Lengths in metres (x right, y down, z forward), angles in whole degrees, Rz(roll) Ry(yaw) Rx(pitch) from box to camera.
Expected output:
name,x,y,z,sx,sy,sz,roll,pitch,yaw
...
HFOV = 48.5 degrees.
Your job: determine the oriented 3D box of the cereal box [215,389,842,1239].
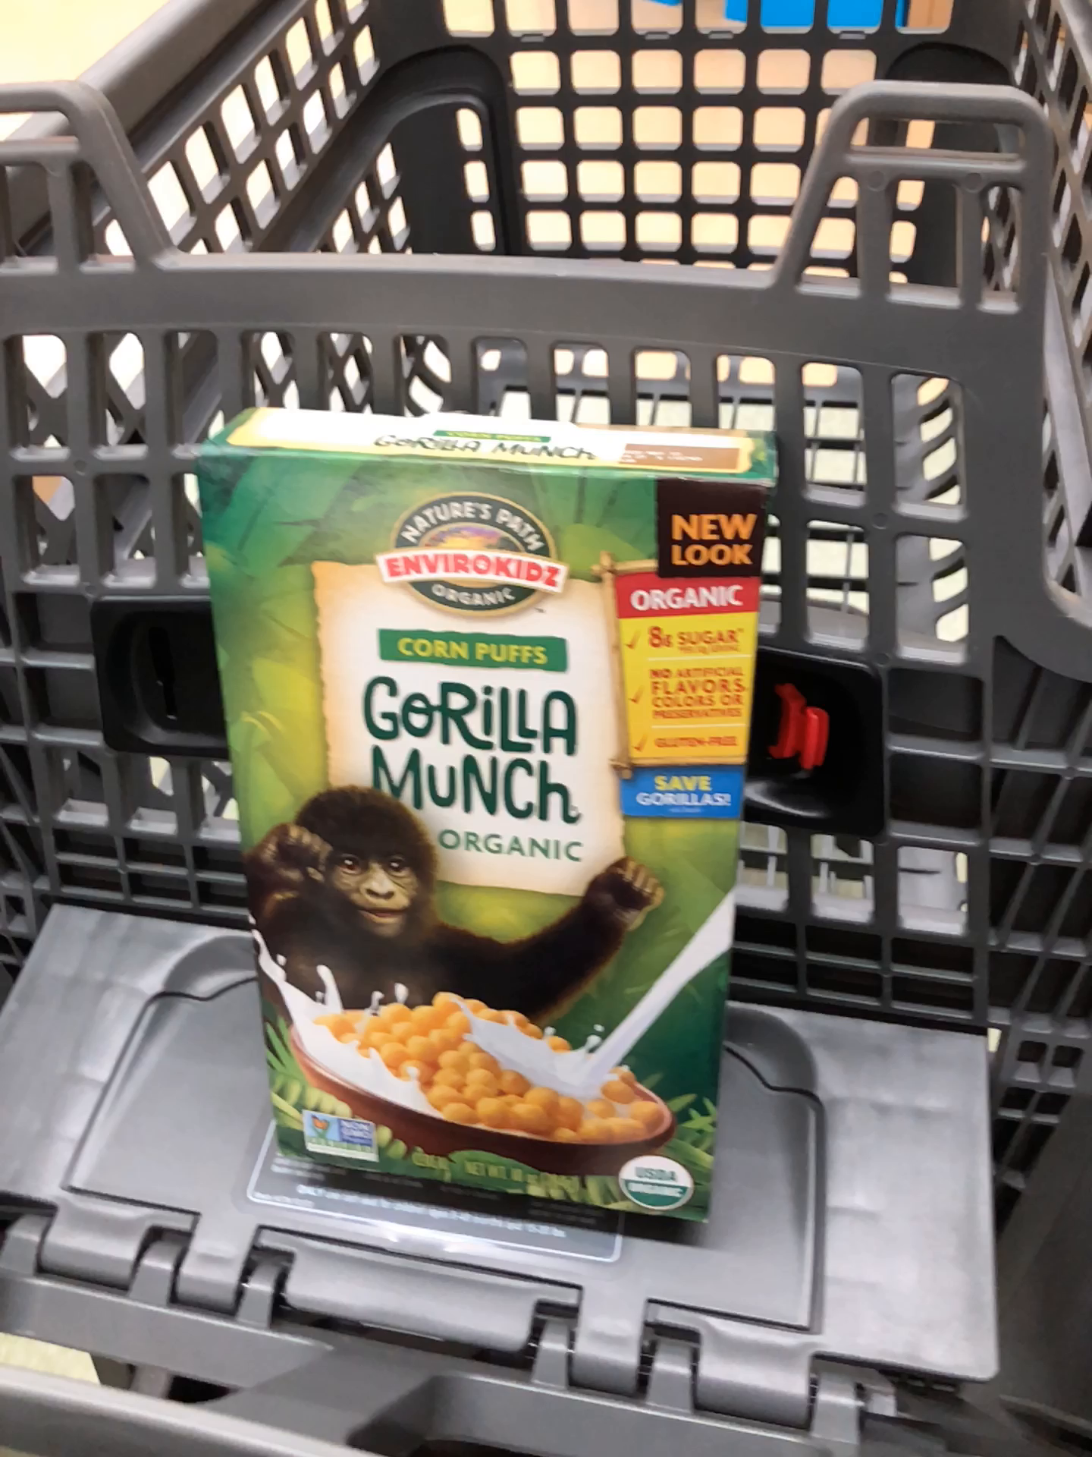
name,x,y,z,sx,sy,sz,roll,pitch,yaw
cereal box,0.000,0.032,0.391,0.160,0.260,0.070,5,27,10
